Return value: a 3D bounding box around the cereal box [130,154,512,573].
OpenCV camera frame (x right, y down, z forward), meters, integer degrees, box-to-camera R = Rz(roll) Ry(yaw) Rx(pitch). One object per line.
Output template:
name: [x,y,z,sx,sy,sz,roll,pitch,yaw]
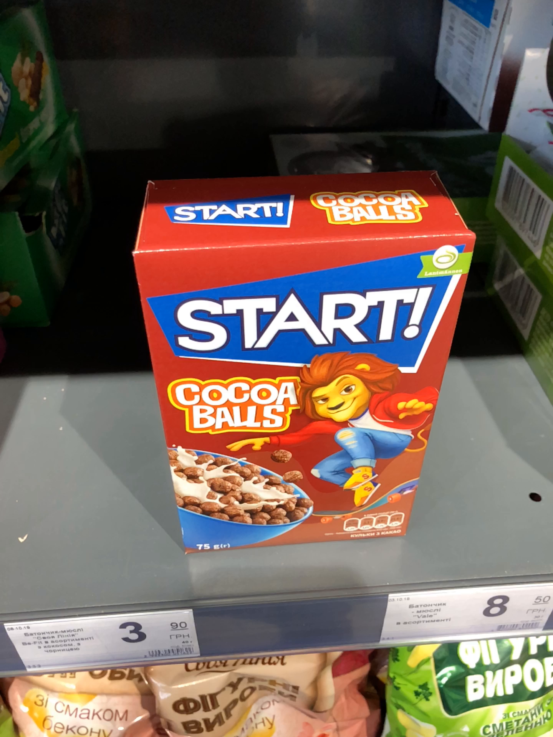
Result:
cereal box: [0.010,0.008,0.254,0.110,0.169,0.060,-4,43,-5]
